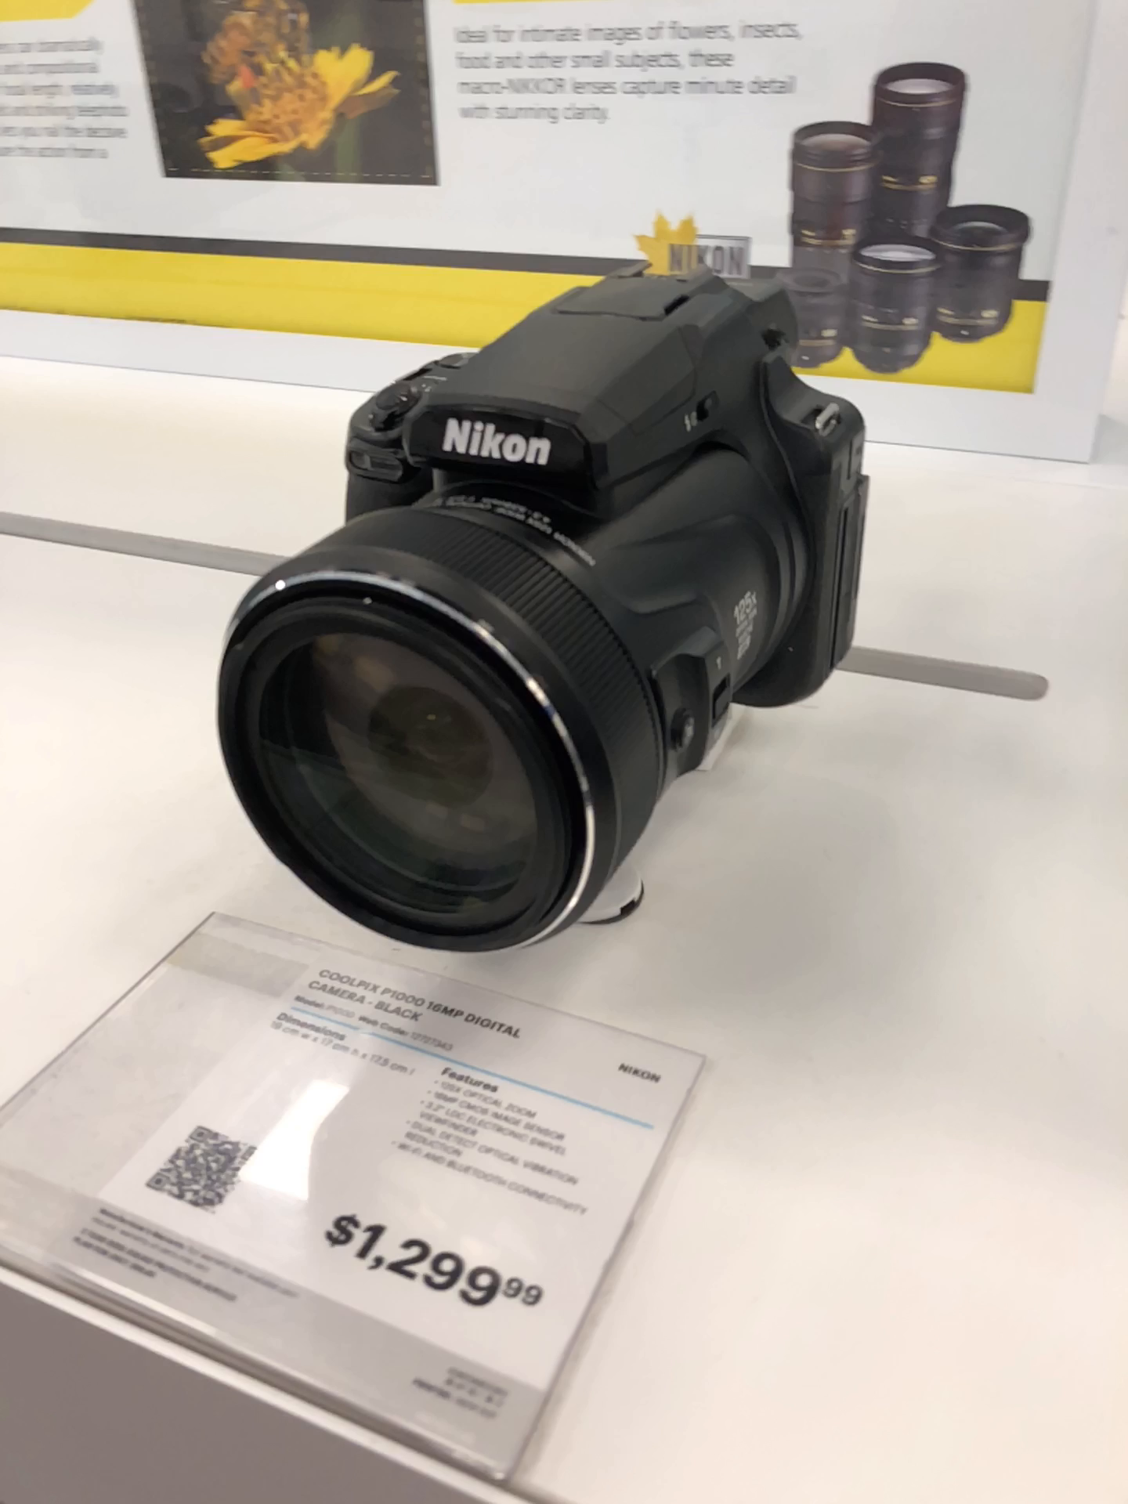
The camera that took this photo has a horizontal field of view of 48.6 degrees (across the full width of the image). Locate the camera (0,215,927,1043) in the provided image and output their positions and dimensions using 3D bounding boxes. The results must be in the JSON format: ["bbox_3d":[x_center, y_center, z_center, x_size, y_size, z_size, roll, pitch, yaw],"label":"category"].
[{"bbox_3d":[-0.018,-0.055,0.305,0.160,0.110,0.191,12,34,22],"label":"camera"}]
